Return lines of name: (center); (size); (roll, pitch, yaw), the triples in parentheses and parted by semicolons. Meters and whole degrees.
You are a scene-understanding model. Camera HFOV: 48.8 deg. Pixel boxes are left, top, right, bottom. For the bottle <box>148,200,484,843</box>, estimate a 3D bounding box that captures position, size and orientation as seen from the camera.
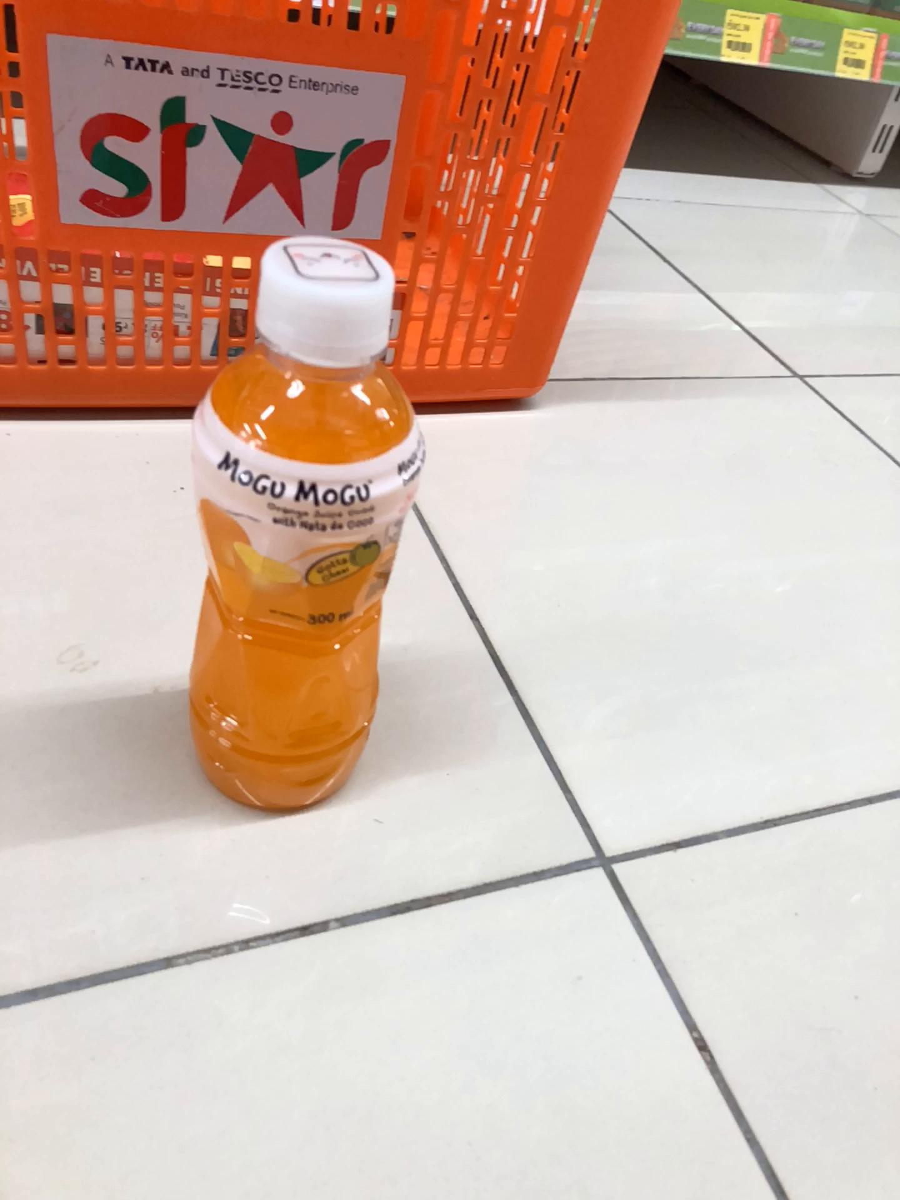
bottle: (-0.039, -0.011, 0.261); (0.060, 0.159, 0.050); (14, 40, 0)
